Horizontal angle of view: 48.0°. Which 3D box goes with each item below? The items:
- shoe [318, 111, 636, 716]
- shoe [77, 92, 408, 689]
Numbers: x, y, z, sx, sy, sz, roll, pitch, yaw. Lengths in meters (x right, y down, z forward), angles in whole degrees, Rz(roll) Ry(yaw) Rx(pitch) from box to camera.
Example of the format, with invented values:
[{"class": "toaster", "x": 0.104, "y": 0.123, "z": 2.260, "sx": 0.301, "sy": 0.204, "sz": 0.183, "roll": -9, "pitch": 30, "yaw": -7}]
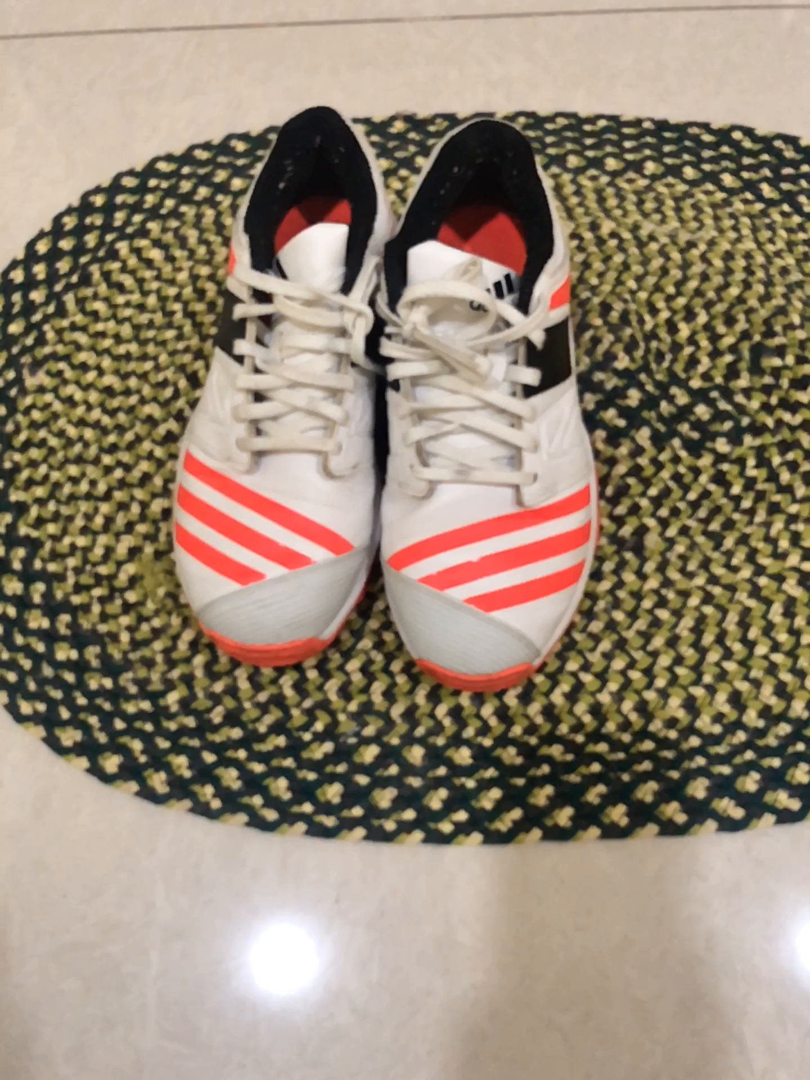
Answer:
[{"class": "shoe", "x": 0.038, "y": -0.058, "z": 0.417, "sx": 0.110, "sy": 0.100, "sz": 0.250, "roll": 5, "pitch": 70, "yaw": 4}, {"class": "shoe", "x": -0.064, "y": -0.075, "z": 0.442, "sx": 0.100, "sy": 0.090, "sz": 0.270, "roll": 5, "pitch": 70, "yaw": 4}]
